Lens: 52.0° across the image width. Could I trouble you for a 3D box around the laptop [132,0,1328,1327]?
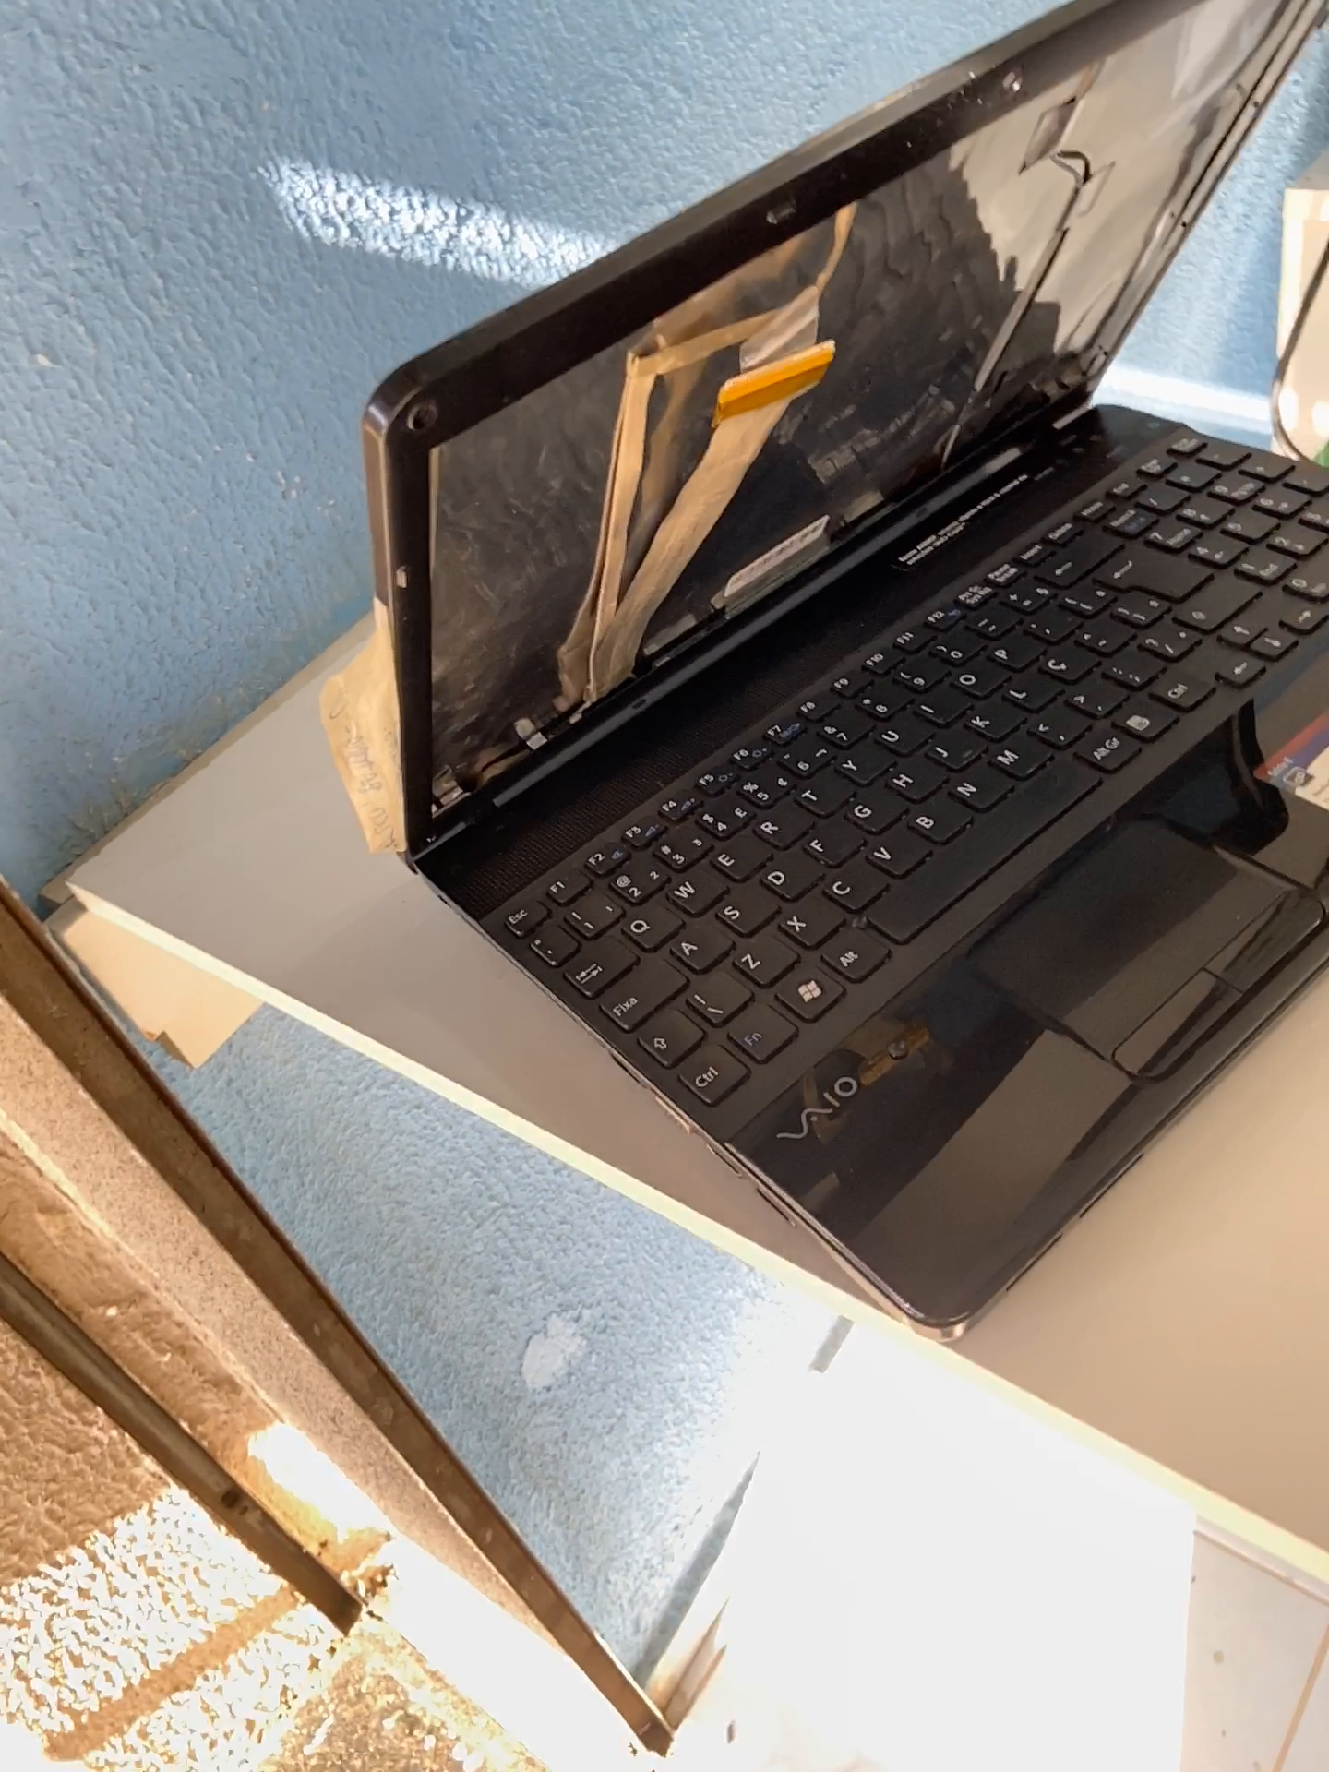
[{"bbox_3d":[0.100,-0.125,0.393,0.365,0.193,0.242,-37,46,-20],"label":"laptop"}]
